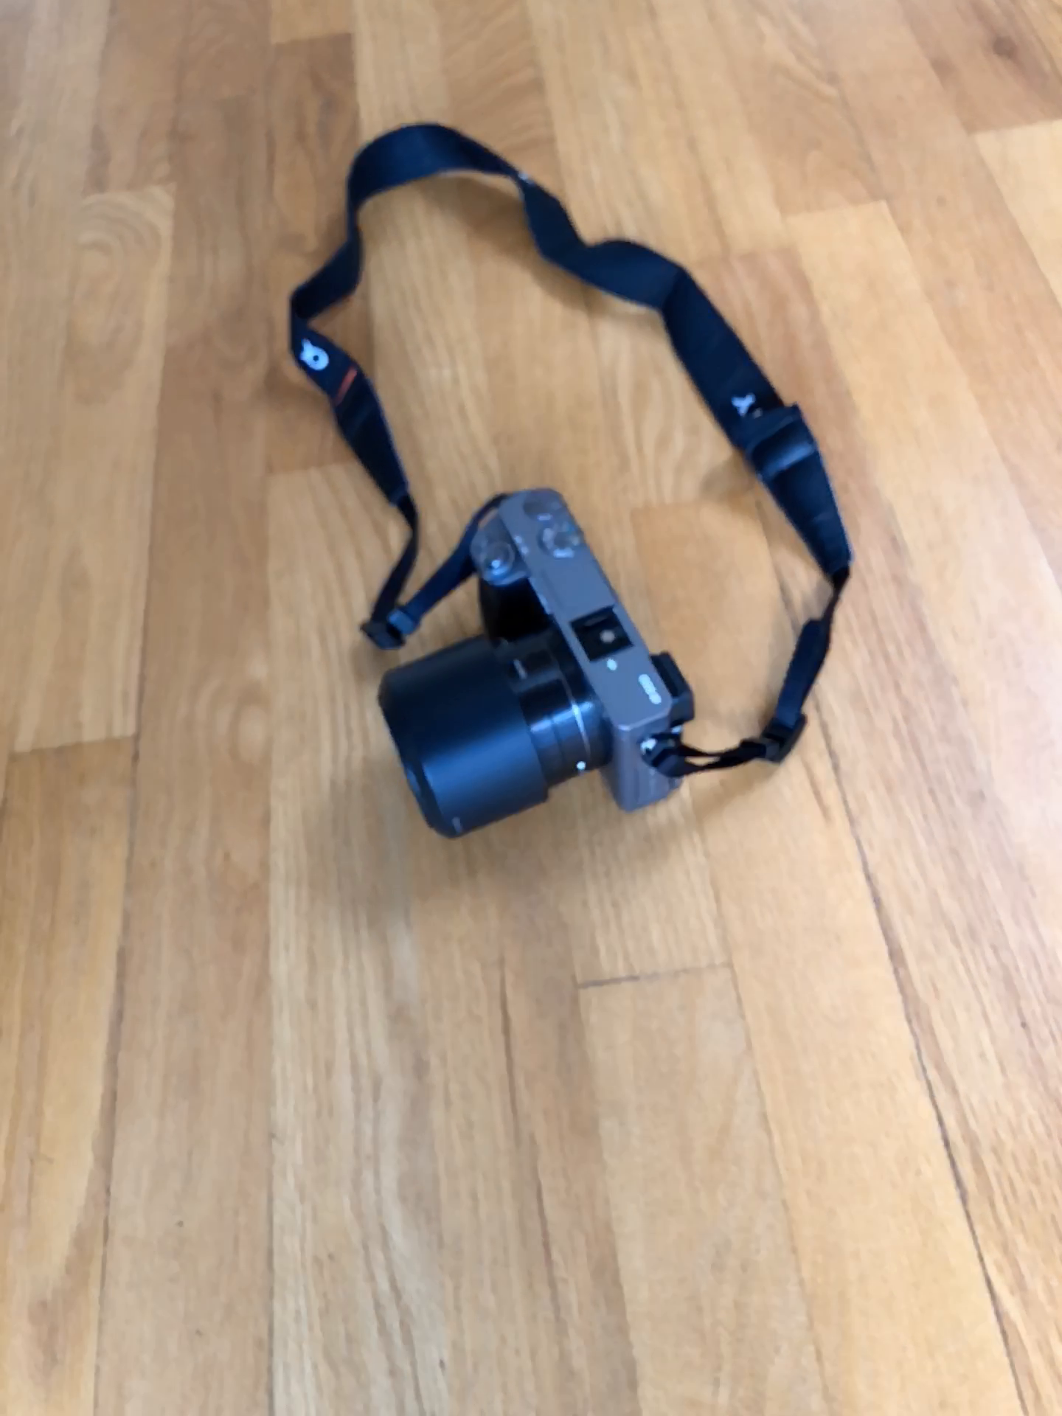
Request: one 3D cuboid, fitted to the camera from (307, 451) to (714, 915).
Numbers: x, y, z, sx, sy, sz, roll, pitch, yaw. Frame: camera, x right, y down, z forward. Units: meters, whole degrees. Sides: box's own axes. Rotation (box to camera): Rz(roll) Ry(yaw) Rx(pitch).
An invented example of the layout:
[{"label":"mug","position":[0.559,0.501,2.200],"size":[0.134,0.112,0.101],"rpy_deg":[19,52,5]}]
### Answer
[{"label":"camera","position":[-0.009,-0.012,0.472],"size":[0.106,0.079,0.136],"rpy_deg":[-22,58,-9]}]
